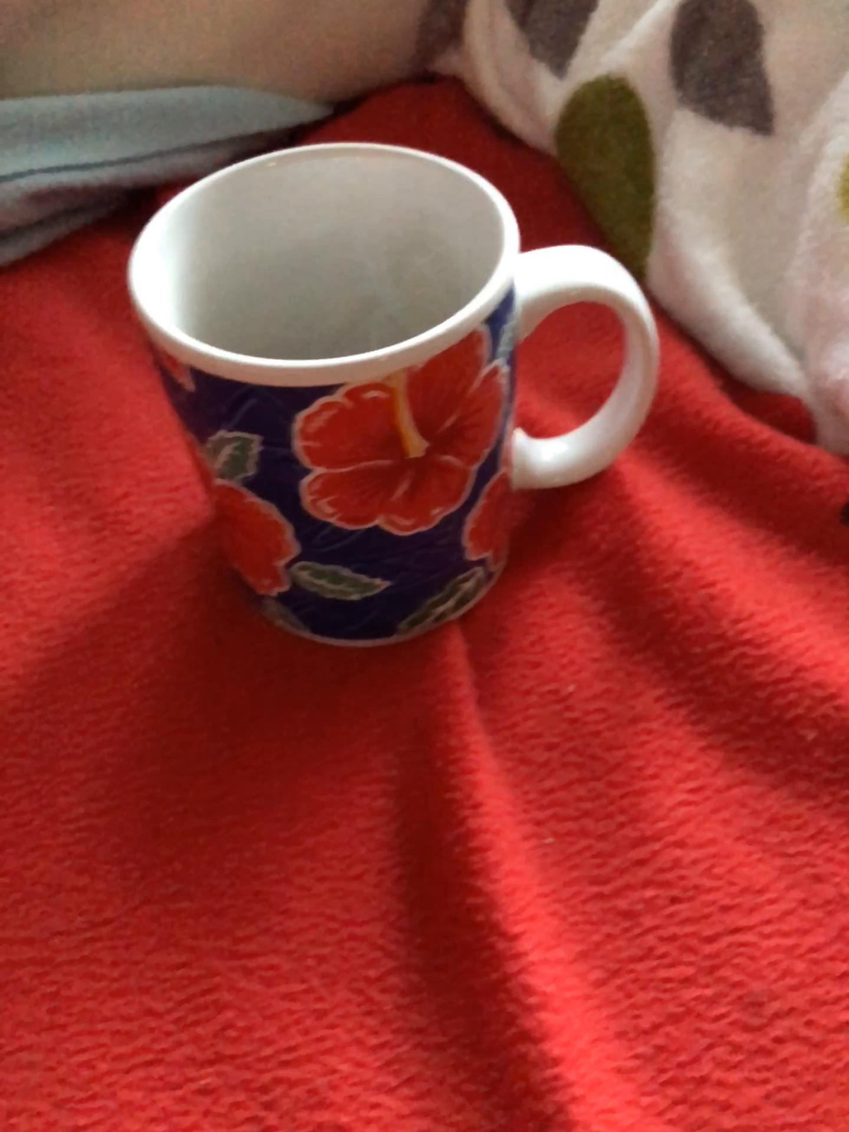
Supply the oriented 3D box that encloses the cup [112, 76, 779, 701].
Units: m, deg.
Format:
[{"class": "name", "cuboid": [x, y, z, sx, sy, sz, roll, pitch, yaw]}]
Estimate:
[{"class": "cup", "cuboid": [-0.001, -0.045, 0.240, 0.120, 0.100, 0.090, -14, 50, -10]}]
